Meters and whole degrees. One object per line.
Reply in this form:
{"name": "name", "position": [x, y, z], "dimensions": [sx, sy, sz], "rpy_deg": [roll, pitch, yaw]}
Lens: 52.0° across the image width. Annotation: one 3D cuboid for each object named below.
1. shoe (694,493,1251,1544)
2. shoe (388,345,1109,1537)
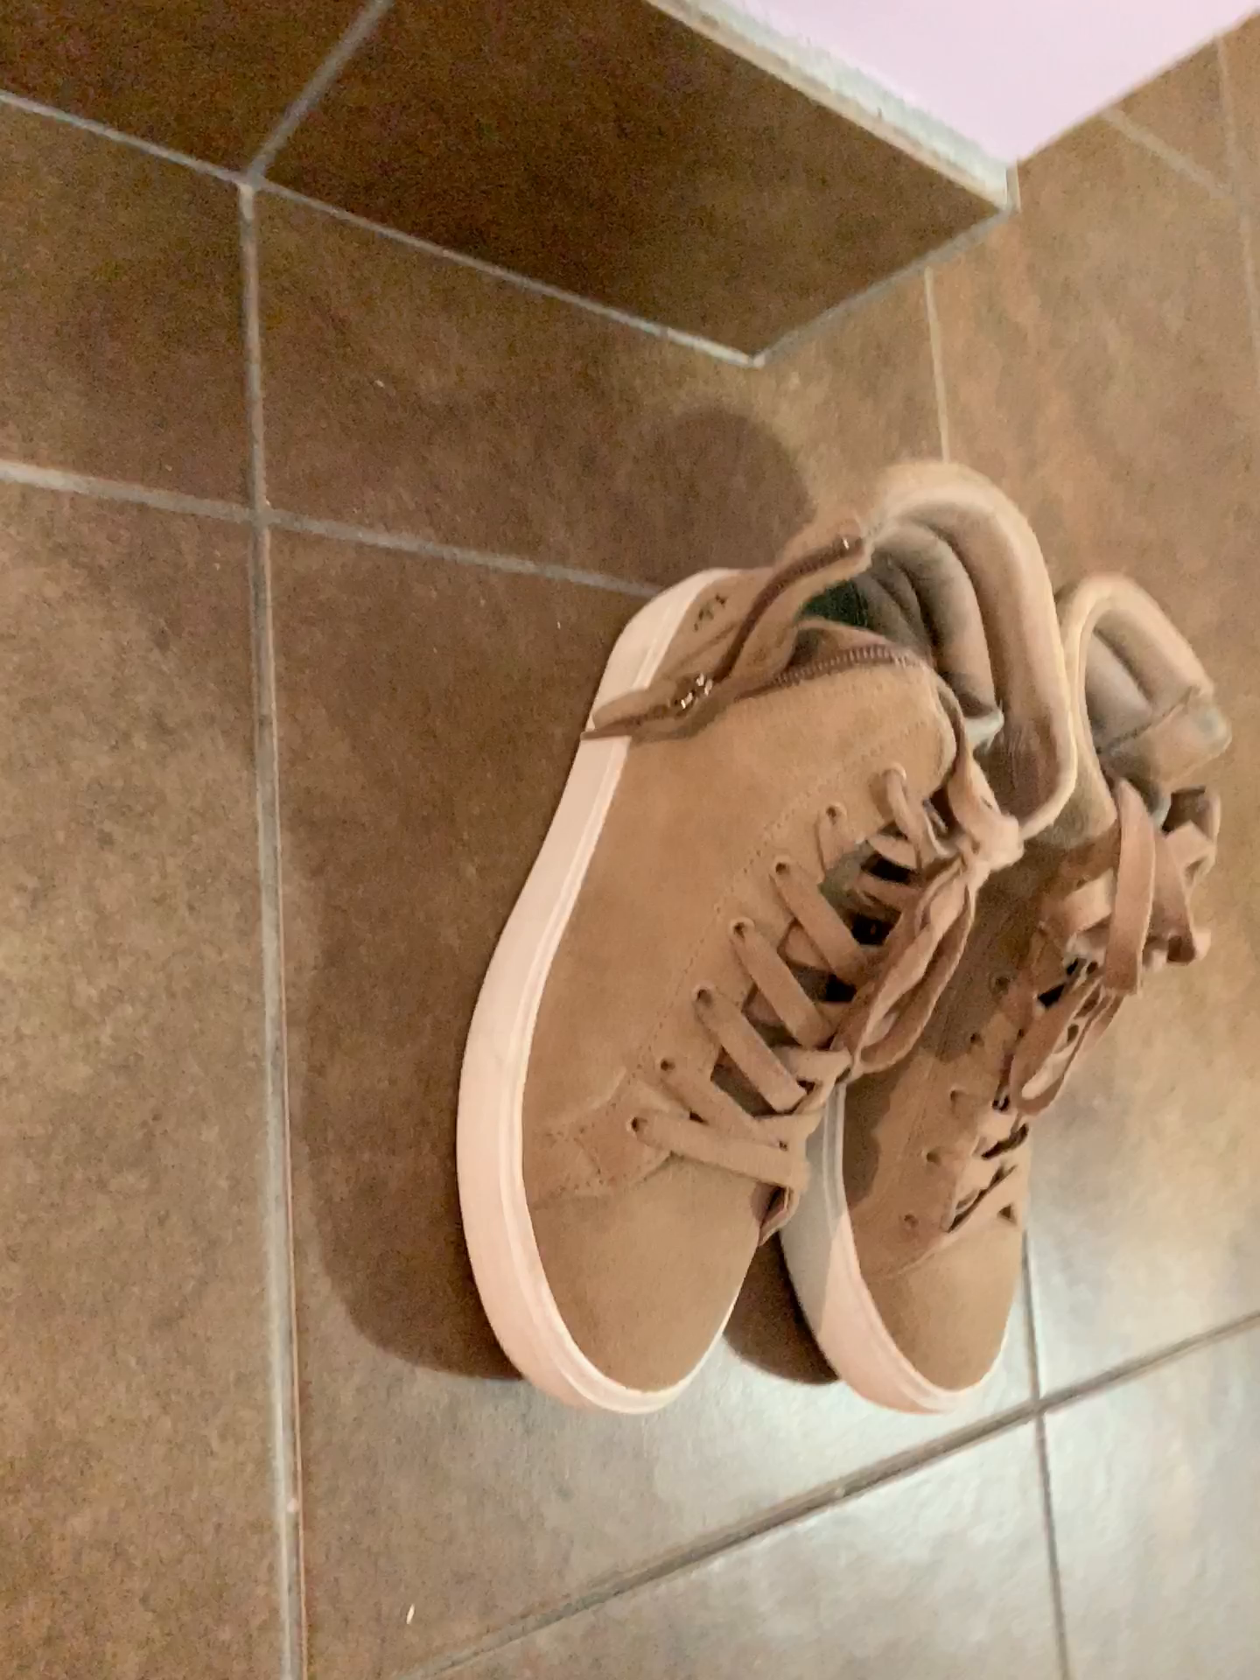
{"name": "shoe", "position": [0.103, 0.051, 0.415], "dimensions": [0.114, 0.119, 0.270], "rpy_deg": [9, 77, -38]}
{"name": "shoe", "position": [0.037, 0.028, 0.342], "dimensions": [0.106, 0.117, 0.254], "rpy_deg": [21, 70, -34]}
